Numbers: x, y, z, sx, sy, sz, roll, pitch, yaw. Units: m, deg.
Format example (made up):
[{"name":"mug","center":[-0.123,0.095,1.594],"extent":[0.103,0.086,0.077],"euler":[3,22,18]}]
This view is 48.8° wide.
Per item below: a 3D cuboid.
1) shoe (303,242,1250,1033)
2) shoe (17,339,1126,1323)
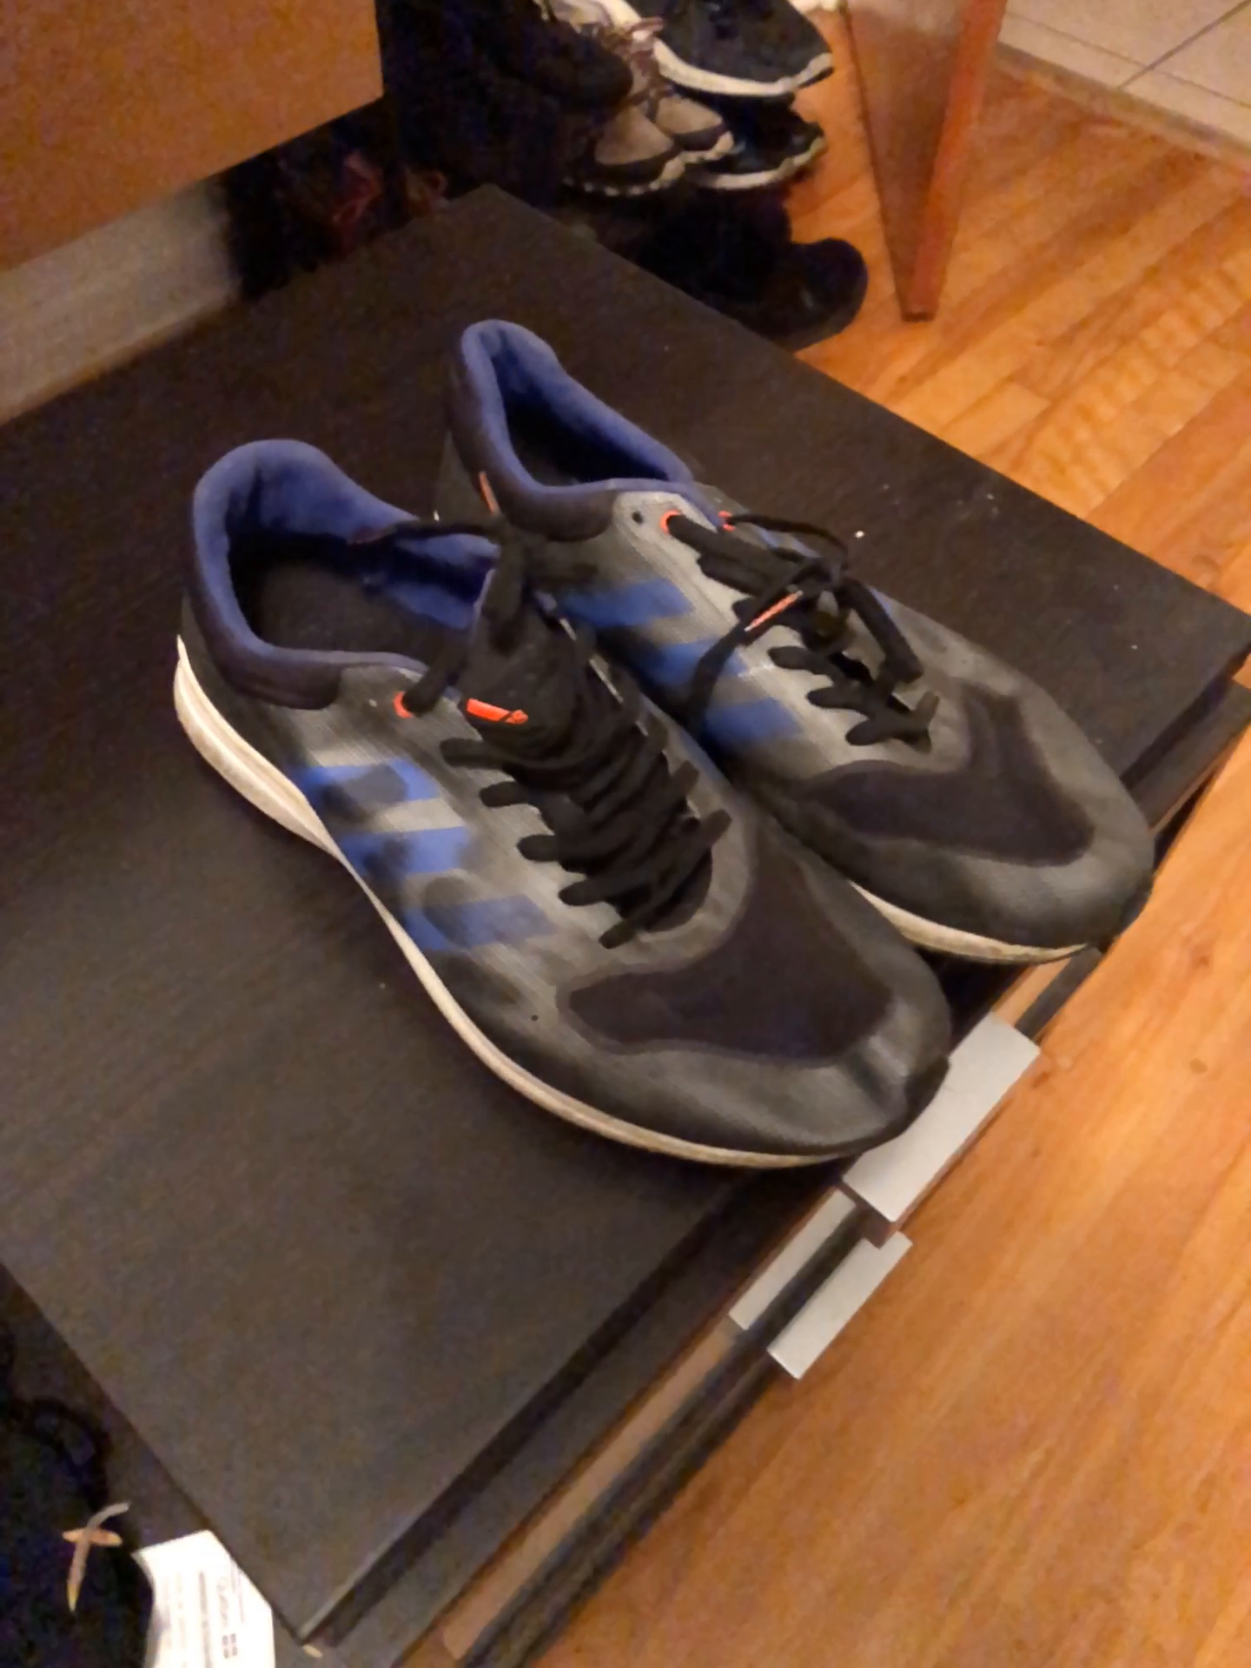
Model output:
[{"name":"shoe","center":[0.040,-0.080,0.448],"extent":[0.301,0.070,0.110],"euler":[37,60,23]},{"name":"shoe","center":[-0.026,-0.018,0.368],"extent":[0.271,0.079,0.110],"euler":[37,60,23]}]
